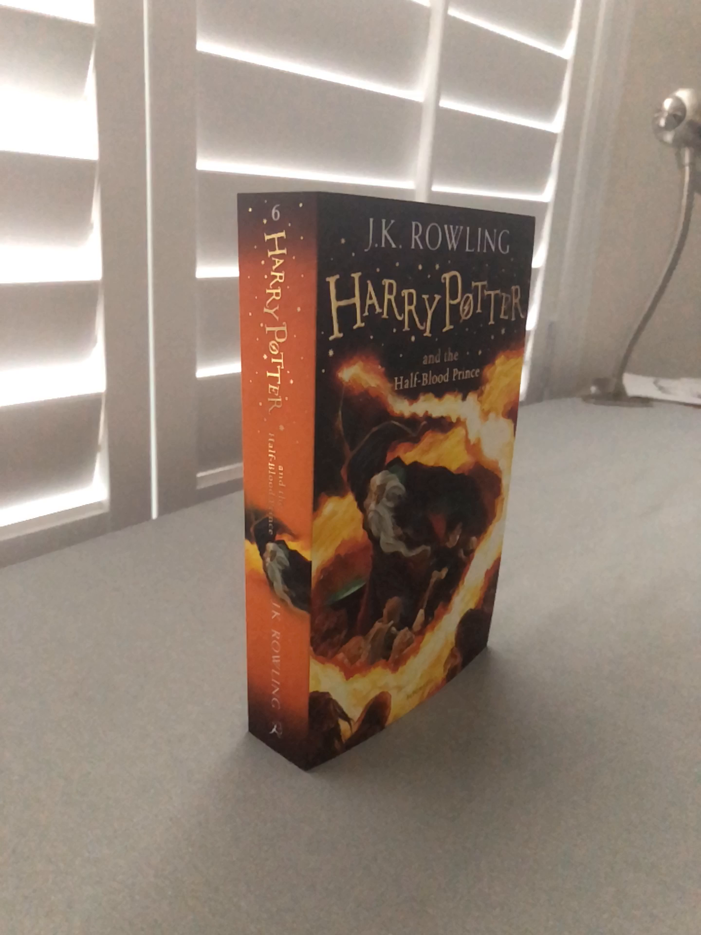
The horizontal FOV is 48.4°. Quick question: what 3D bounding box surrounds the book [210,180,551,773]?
[{"bbox_3d":[0.018,-0.006,0.312,0.047,0.194,0.142,14,20,39],"label":"book"}]
